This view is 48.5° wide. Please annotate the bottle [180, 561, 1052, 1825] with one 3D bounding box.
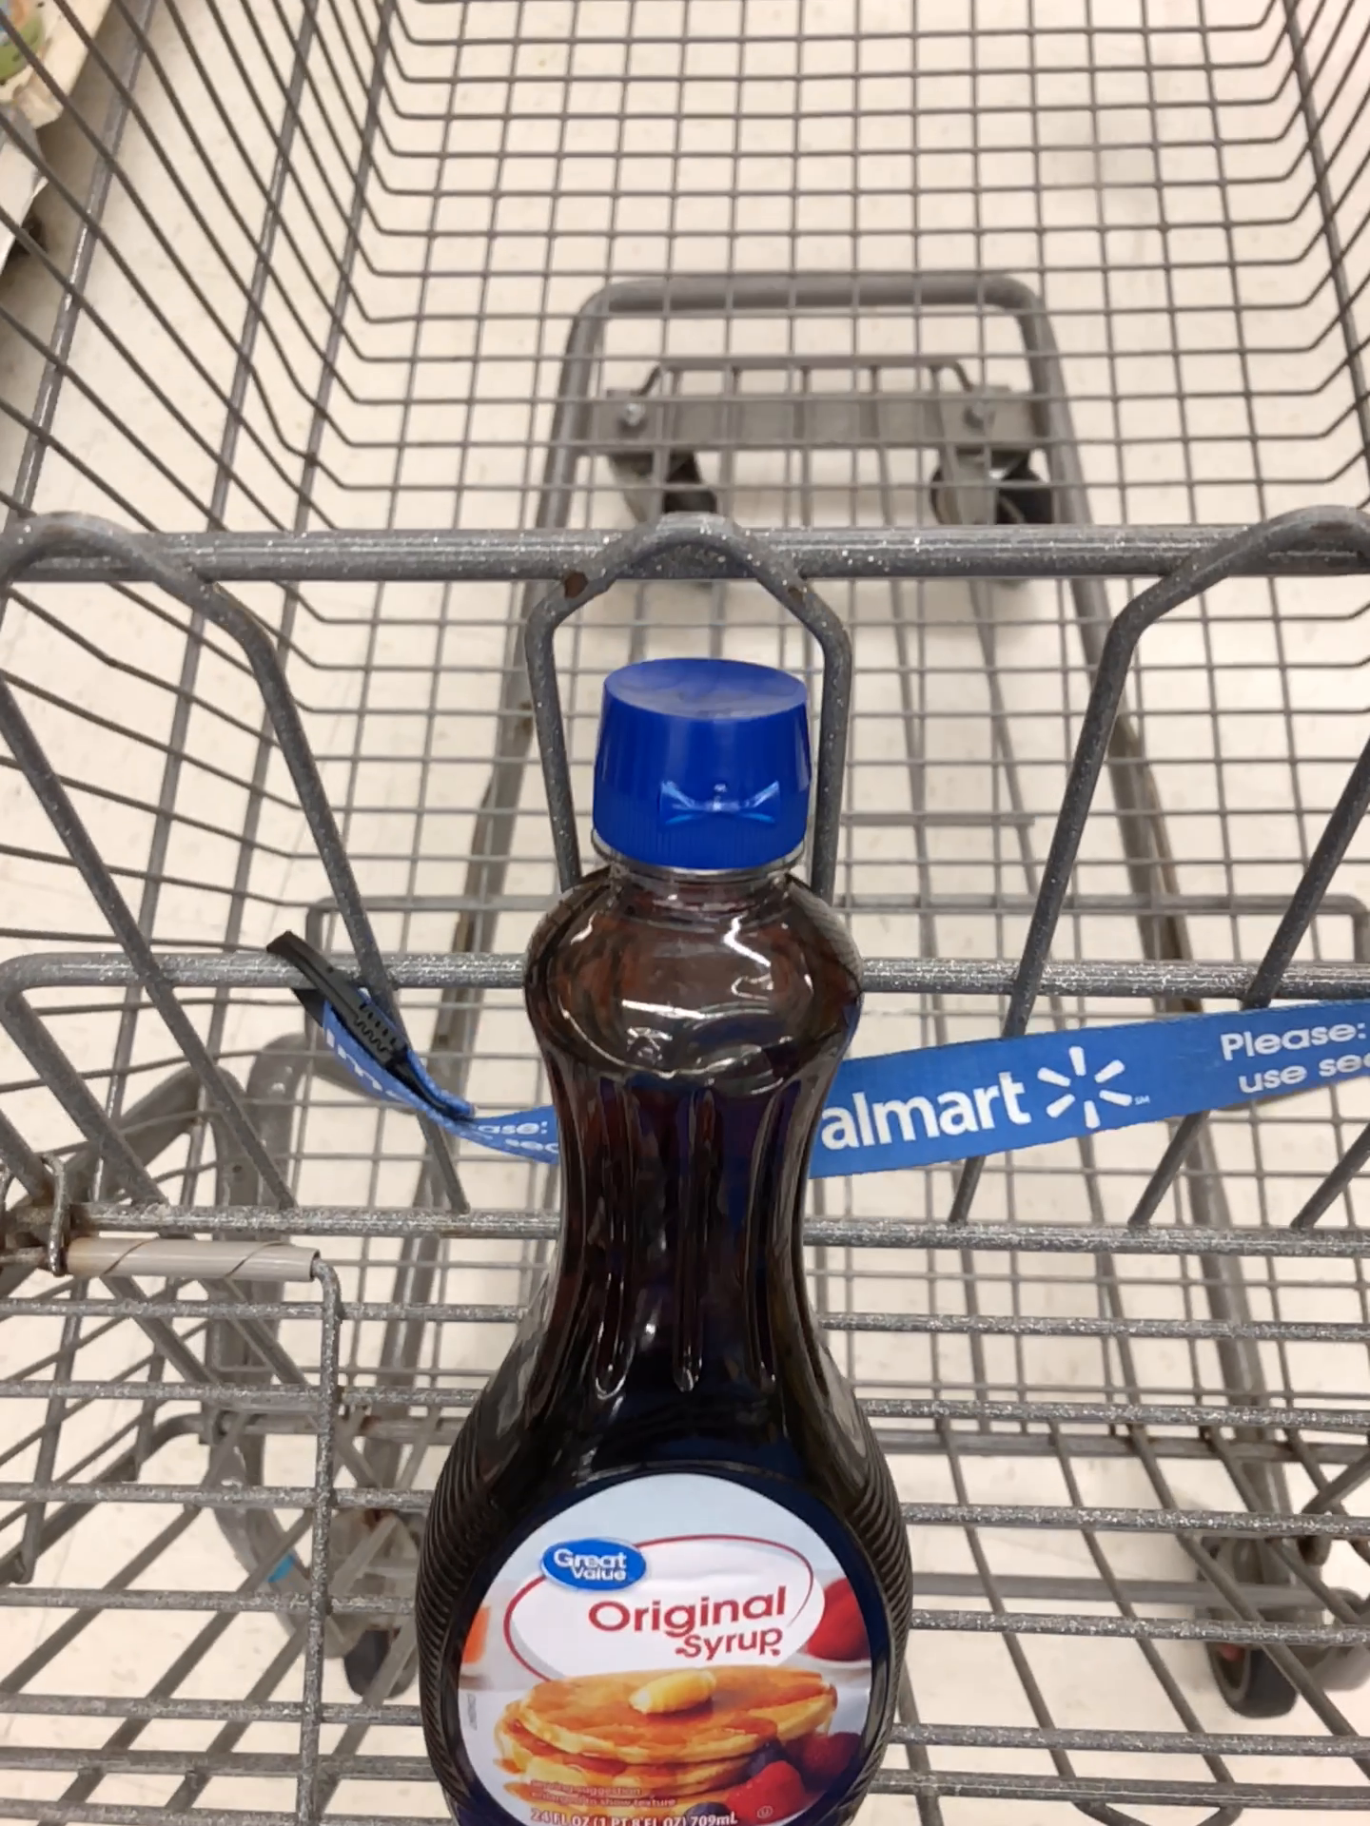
[{"bbox_3d":[-0.010,0.067,0.288,0.120,0.070,0.250,3,112,4],"label":"bottle"}]
